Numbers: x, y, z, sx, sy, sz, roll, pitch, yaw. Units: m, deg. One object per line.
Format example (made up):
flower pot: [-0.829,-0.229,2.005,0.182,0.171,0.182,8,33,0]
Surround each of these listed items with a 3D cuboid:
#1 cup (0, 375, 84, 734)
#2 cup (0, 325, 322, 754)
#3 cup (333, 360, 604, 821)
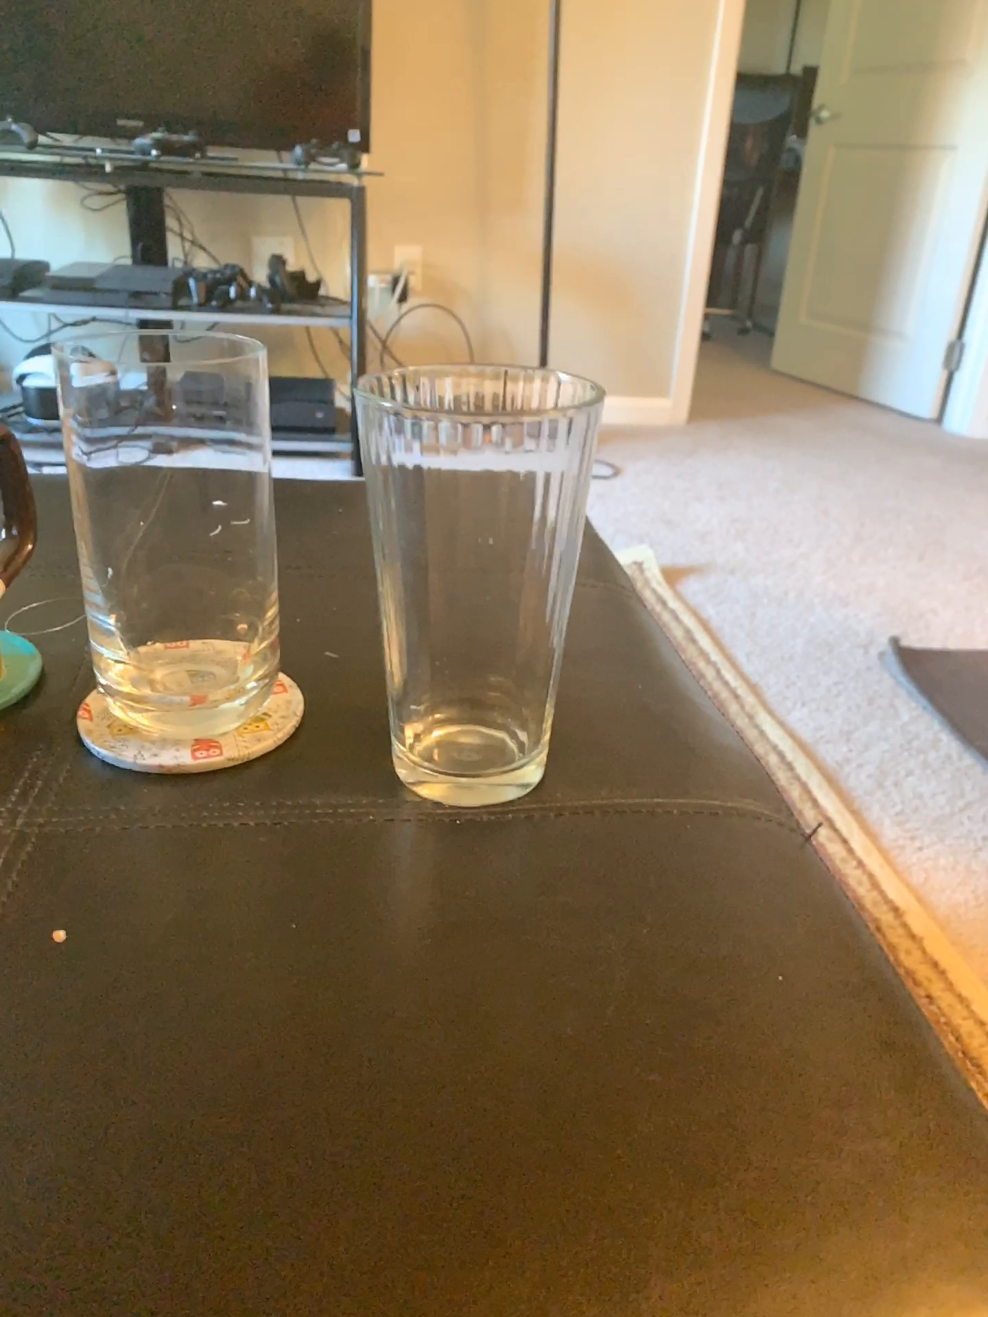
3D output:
cup: [-0.228,-0.044,0.386,0.090,0.099,0.090,3,26,-1]
cup: [-0.115,-0.046,0.373,0.080,0.129,0.080,3,26,-1]
cup: [-0.009,-0.026,0.366,0.080,0.139,0.080,3,26,-1]
